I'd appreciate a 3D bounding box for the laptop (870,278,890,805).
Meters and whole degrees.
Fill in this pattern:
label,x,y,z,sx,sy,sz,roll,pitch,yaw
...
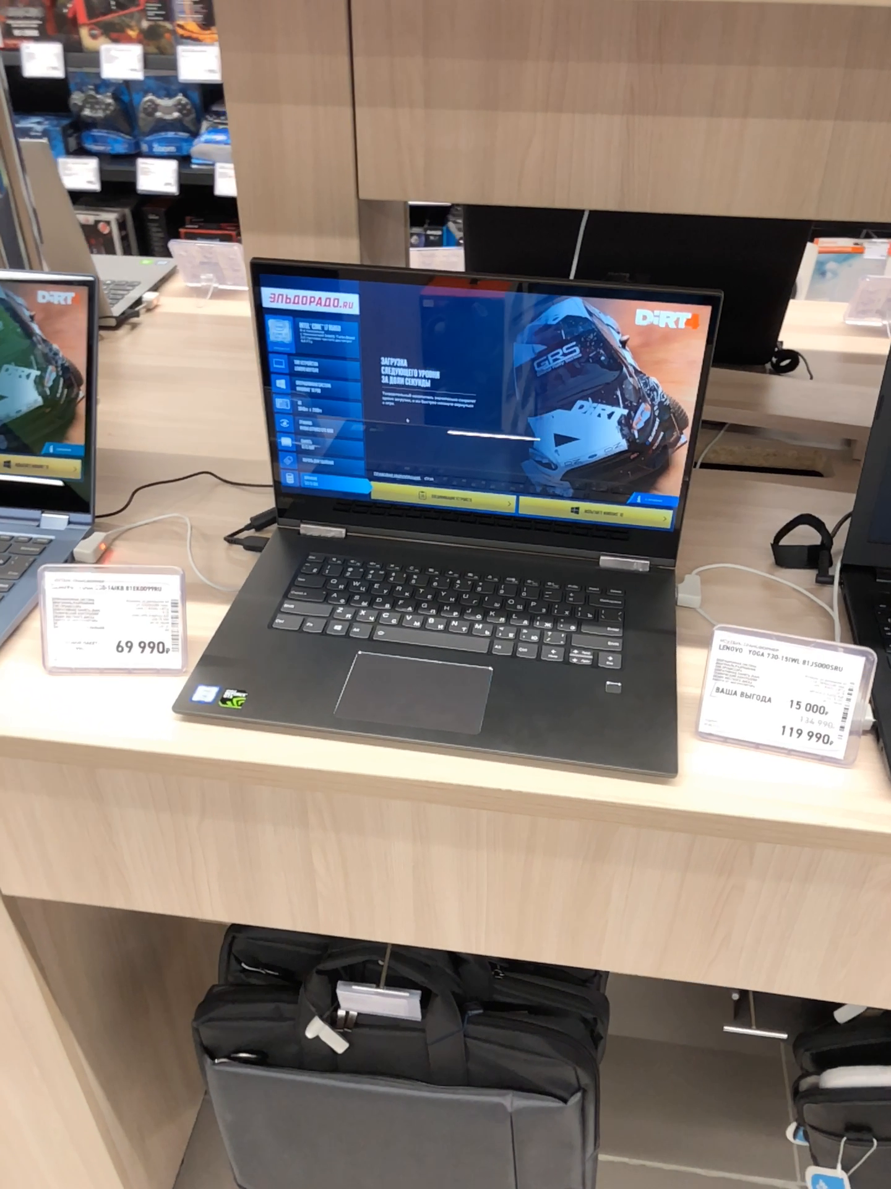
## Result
label,x,y,z,sx,sy,sz,roll,pitch,yaw
laptop,0.487,-0.057,0.675,0.305,0.238,0.309,7,33,15

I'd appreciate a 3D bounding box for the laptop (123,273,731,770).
label,x,y,z,sx,sy,sz,roll,pitch,yaw
laptop,0.008,-0.070,0.732,0.358,0.240,0.253,6,36,9
